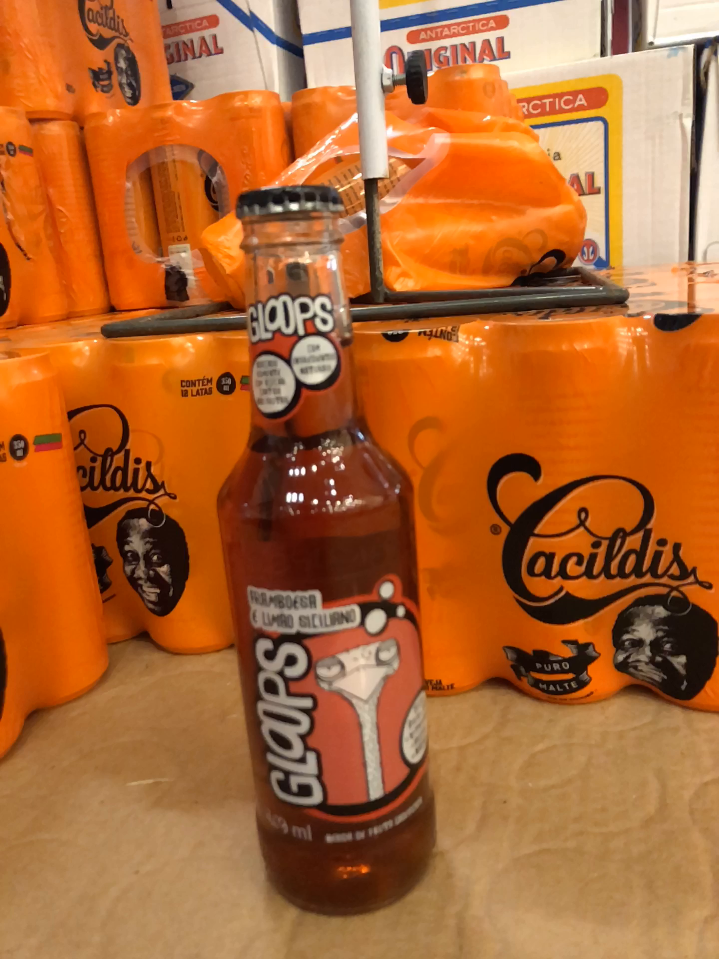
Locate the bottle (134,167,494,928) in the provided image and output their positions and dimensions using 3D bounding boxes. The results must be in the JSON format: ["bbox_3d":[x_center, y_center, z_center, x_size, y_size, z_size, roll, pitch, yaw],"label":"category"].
[{"bbox_3d":[-0.007,0.020,0.218,0.070,0.189,0.050,-5,14,-3],"label":"bottle"}]
